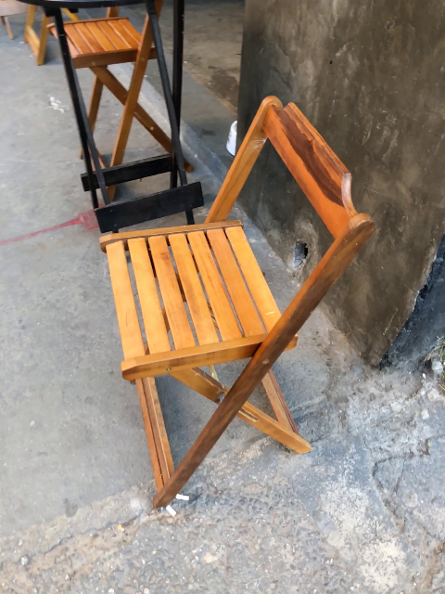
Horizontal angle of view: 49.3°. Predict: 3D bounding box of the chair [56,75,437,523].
[{"bbox_3d":[-0.019,0.047,1.105,0.500,0.854,0.483,-11,48,-13],"label":"chair"}]
